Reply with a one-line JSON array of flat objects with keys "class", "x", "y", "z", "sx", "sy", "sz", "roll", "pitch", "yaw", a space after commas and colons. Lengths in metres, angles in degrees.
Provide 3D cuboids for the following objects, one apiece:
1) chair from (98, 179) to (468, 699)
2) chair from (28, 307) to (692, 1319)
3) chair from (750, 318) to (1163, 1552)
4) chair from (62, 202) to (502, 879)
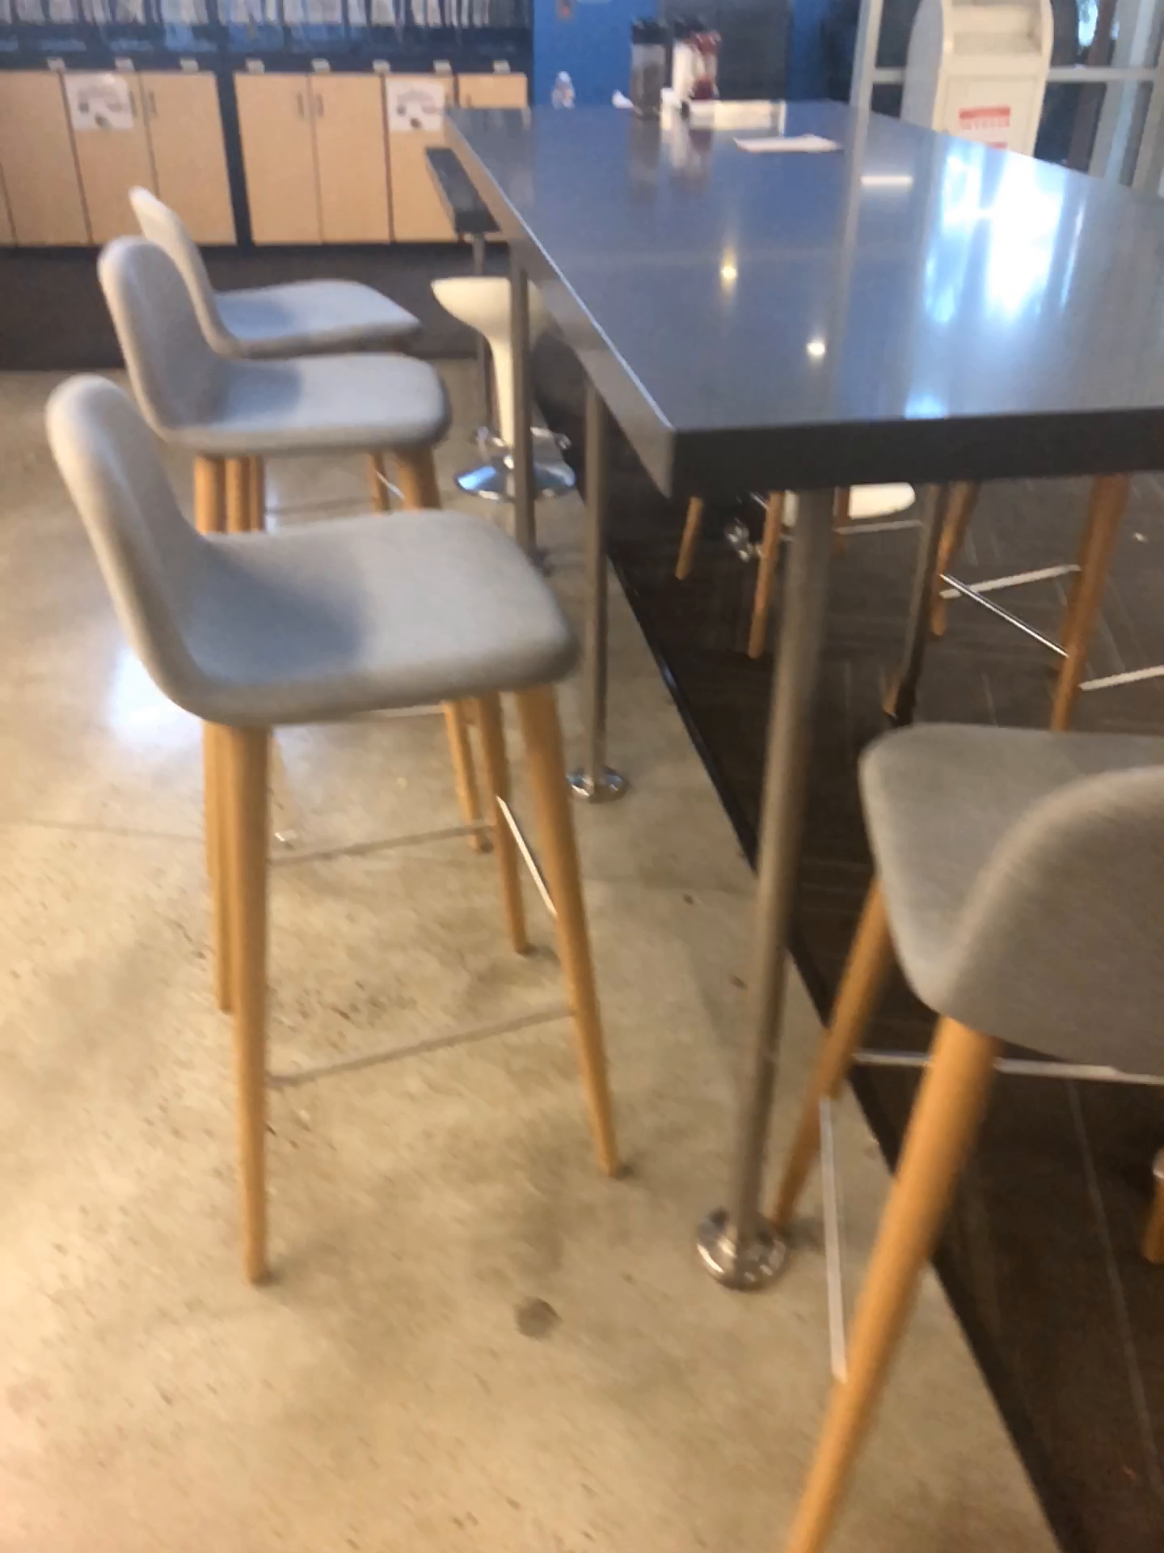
[{"class": "chair", "x": -0.599, "y": -0.711, "z": 2.625, "sx": 0.512, "sy": 0.893, "sz": 0.492, "roll": -15, "pitch": 31, "yaw": -23}, {"class": "chair", "x": -0.248, "y": 0.033, "z": 1.505, "sx": 0.542, "sy": 0.982, "sz": 0.503, "roll": -12, "pitch": 34, "yaw": -19}, {"class": "chair", "x": 0.433, "y": 0.201, "z": 1.097, "sx": 0.500, "sy": 0.982, "sz": 0.666, "roll": 4, "pitch": 32, "yaw": 5}, {"class": "chair", "x": -0.455, "y": -0.408, "z": 2.154, "sx": 0.541, "sy": 0.982, "sz": 0.503, "roll": -6, "pitch": 28, "yaw": -10}]
